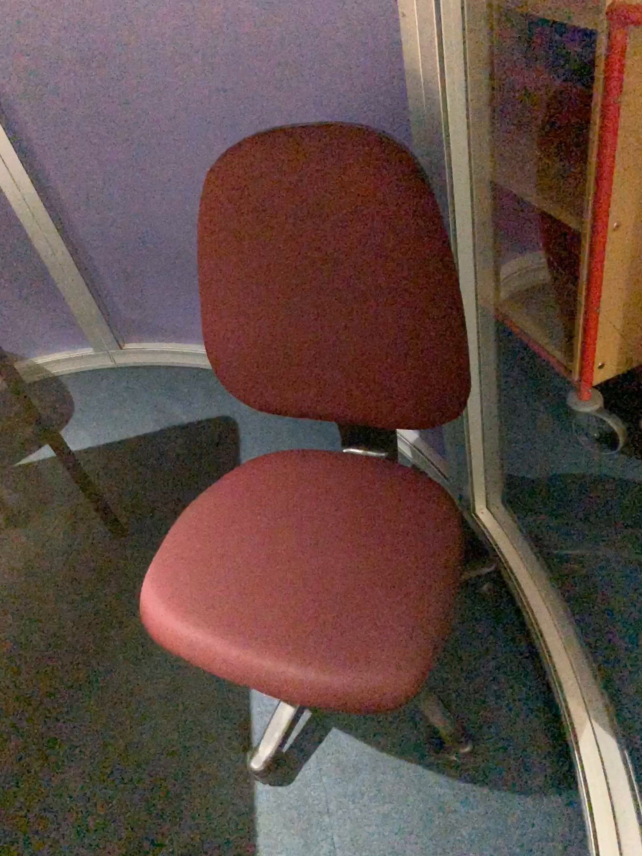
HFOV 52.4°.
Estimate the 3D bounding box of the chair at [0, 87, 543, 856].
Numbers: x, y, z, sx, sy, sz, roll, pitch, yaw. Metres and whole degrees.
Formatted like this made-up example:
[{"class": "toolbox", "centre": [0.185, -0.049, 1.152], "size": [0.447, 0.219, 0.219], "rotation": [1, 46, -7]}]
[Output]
[{"class": "chair", "centre": [0.005, 0.032, 1.084], "size": [0.581, 0.772, 0.857], "rotation": [6, 47, 22]}]
